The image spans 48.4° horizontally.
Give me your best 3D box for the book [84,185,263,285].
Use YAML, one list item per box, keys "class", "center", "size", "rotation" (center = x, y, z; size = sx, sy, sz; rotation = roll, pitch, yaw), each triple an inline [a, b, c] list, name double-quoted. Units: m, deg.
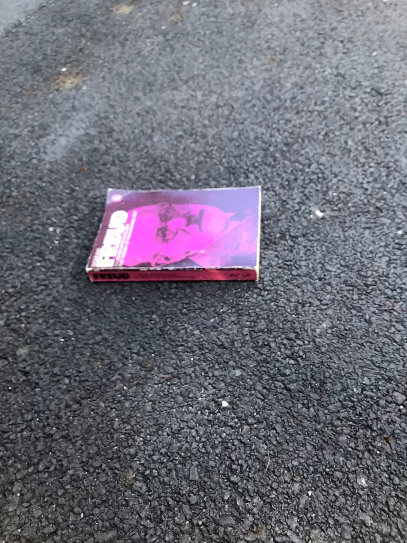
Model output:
- class: "book"
  center: [-0.029, -0.046, 0.542]
  size: [0.194, 0.031, 0.131]
  rotation: [0, 51, 10]
